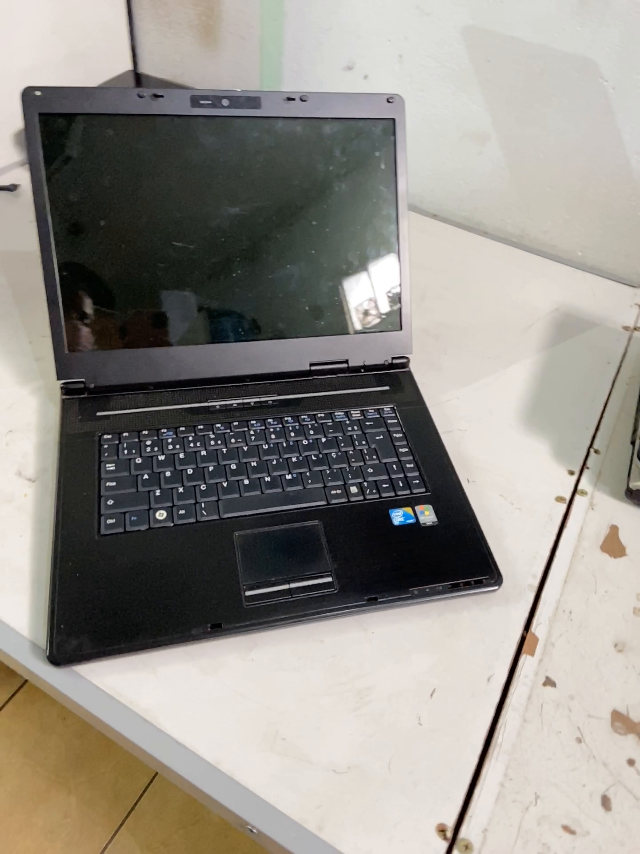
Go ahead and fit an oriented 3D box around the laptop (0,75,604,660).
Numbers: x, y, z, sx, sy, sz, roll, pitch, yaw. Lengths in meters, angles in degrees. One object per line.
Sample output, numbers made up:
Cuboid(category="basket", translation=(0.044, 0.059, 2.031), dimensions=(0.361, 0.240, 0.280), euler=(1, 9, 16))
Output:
Cuboid(category="laptop", translation=(-0.061, -0.089, 0.560), dimensions=(0.351, 0.224, 0.431), euler=(-6, 49, -12))
